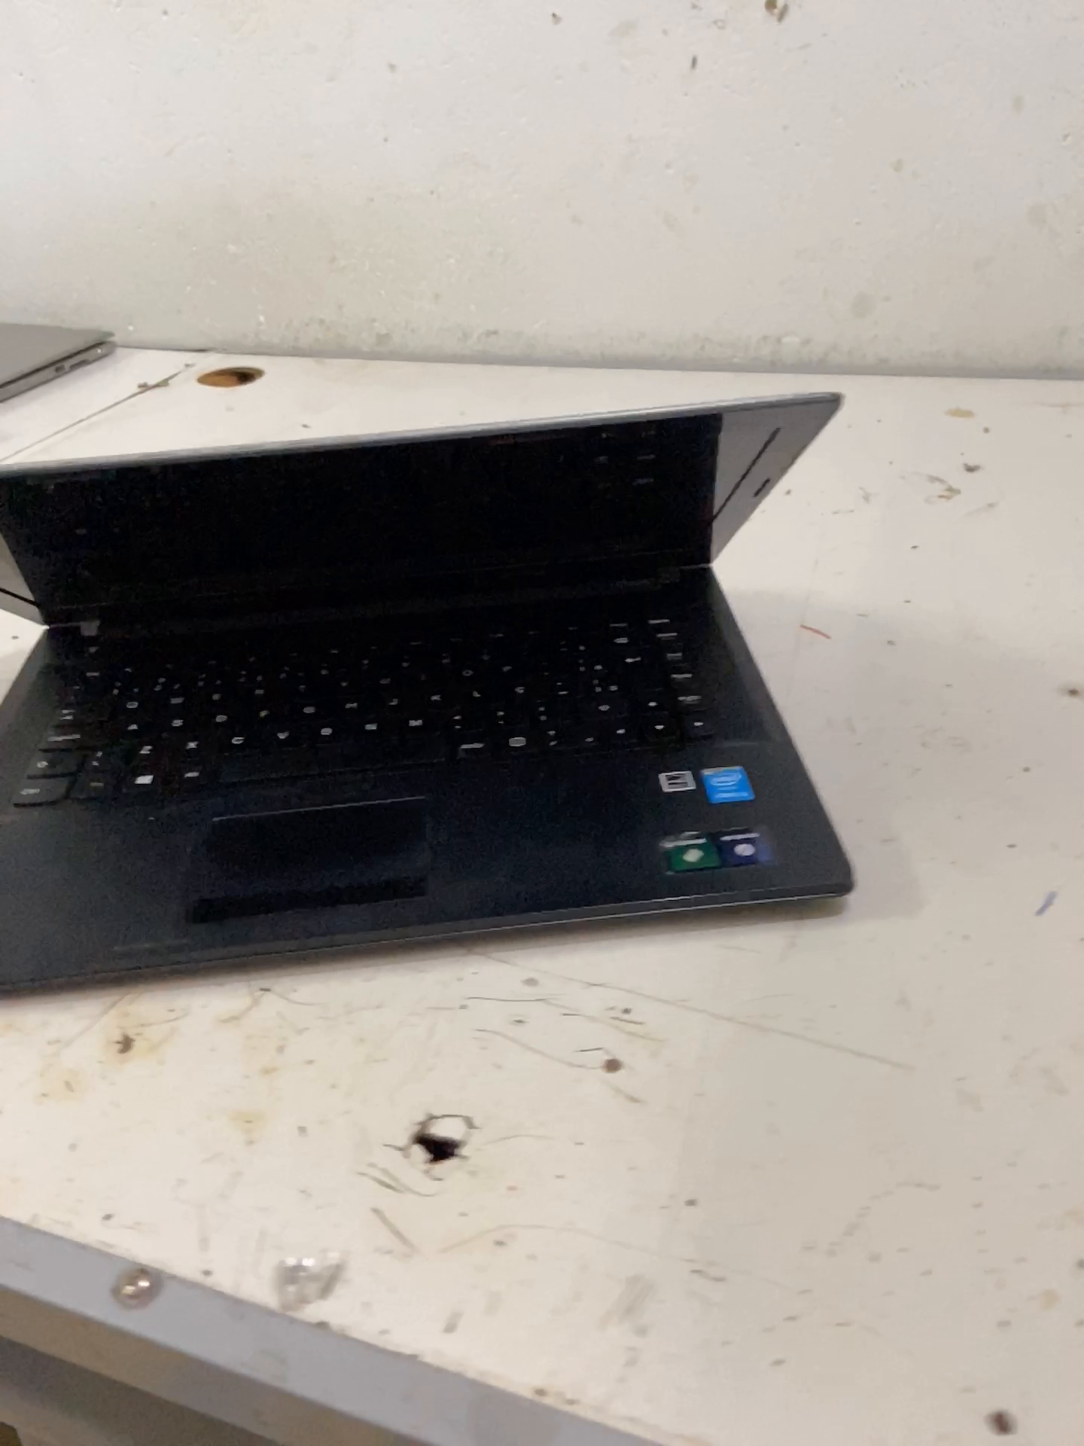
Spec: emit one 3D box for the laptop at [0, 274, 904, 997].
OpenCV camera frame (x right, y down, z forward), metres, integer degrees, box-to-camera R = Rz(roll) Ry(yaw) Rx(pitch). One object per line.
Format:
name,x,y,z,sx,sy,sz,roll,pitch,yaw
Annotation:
laptop,-0.078,-0.056,0.442,0.344,0.148,0.246,-6,34,-2
